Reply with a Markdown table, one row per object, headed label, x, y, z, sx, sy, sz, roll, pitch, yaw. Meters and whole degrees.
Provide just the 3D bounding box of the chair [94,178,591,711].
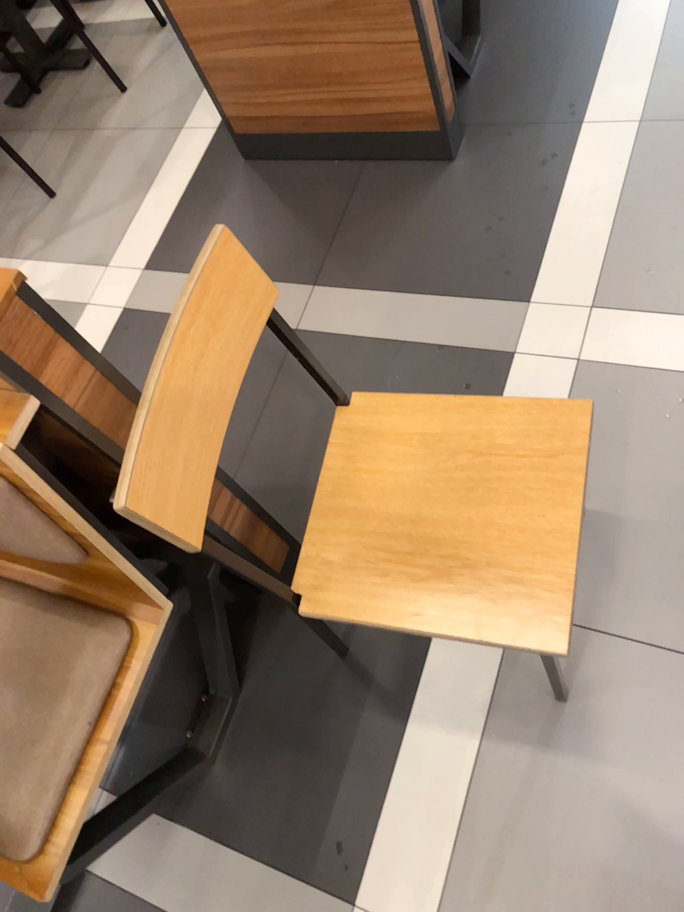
| label | x | y | z | sx | sy | sz | roll | pitch | yaw |
| --- | --- | --- | --- | --- | --- | --- | --- | --- | --- |
| chair | 0.121 | 0.069 | 1.160 | 0.461 | 0.847 | 0.431 | 3 | 65 | 21 |
